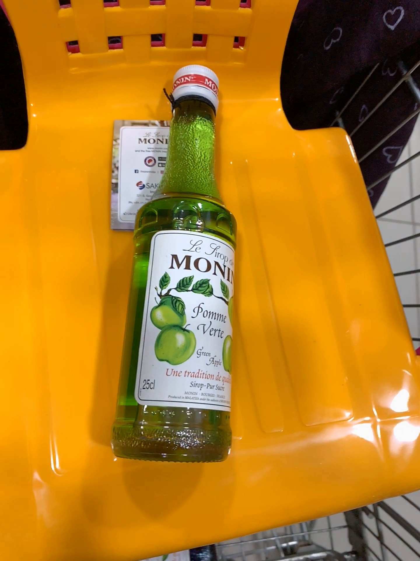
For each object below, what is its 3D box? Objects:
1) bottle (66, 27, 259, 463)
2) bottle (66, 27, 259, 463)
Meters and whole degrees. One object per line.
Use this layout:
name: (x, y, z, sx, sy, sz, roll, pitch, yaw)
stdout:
bottle: (-0.019, -0.021, 0.246, 0.060, 0.060, 0.220, -7, 70, 35)
bottle: (-0.019, -0.021, 0.246, 0.060, 0.060, 0.220, -7, 70, 35)
